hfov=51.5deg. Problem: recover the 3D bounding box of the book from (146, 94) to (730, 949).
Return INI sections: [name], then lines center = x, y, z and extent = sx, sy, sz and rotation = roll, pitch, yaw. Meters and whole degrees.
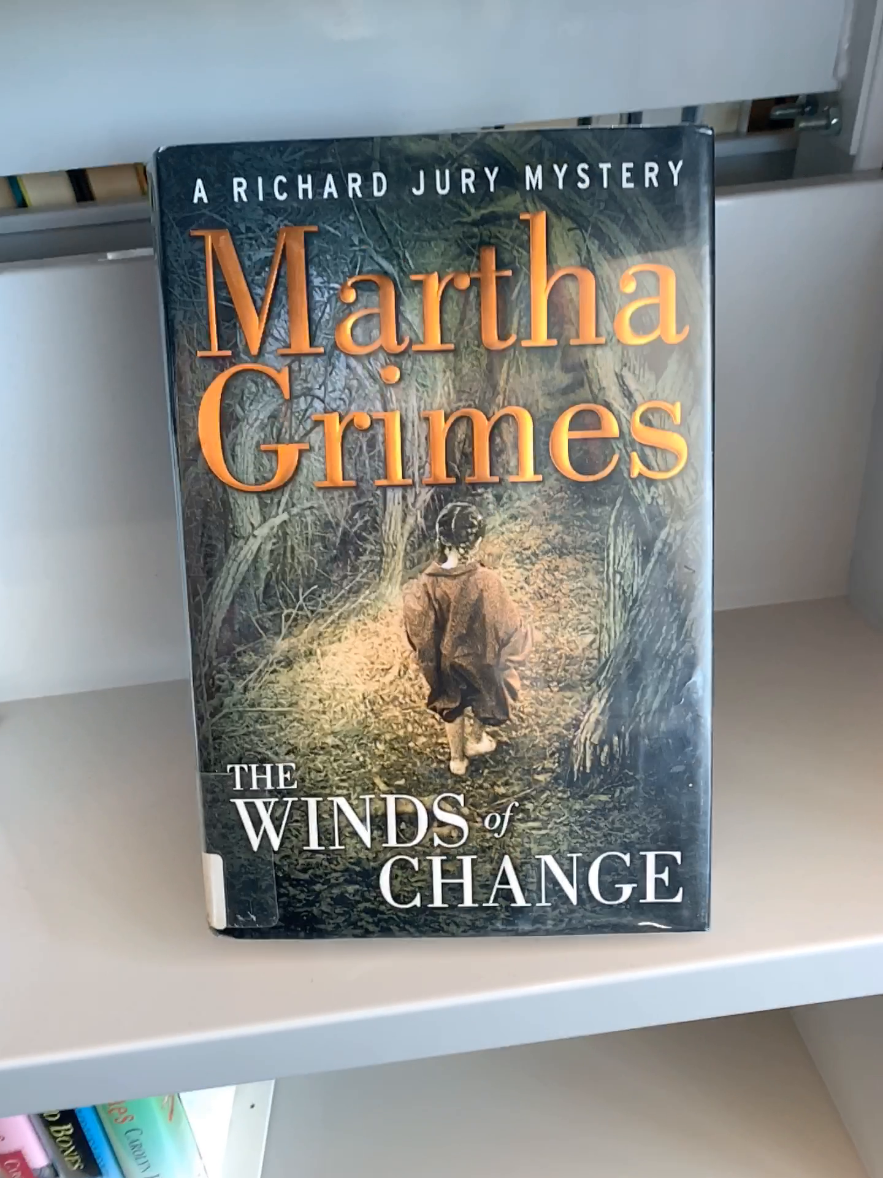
[book]
center = 0.004, -0.014, 0.293
extent = 0.160, 0.244, 0.050
rotation = -2, 8, 3
